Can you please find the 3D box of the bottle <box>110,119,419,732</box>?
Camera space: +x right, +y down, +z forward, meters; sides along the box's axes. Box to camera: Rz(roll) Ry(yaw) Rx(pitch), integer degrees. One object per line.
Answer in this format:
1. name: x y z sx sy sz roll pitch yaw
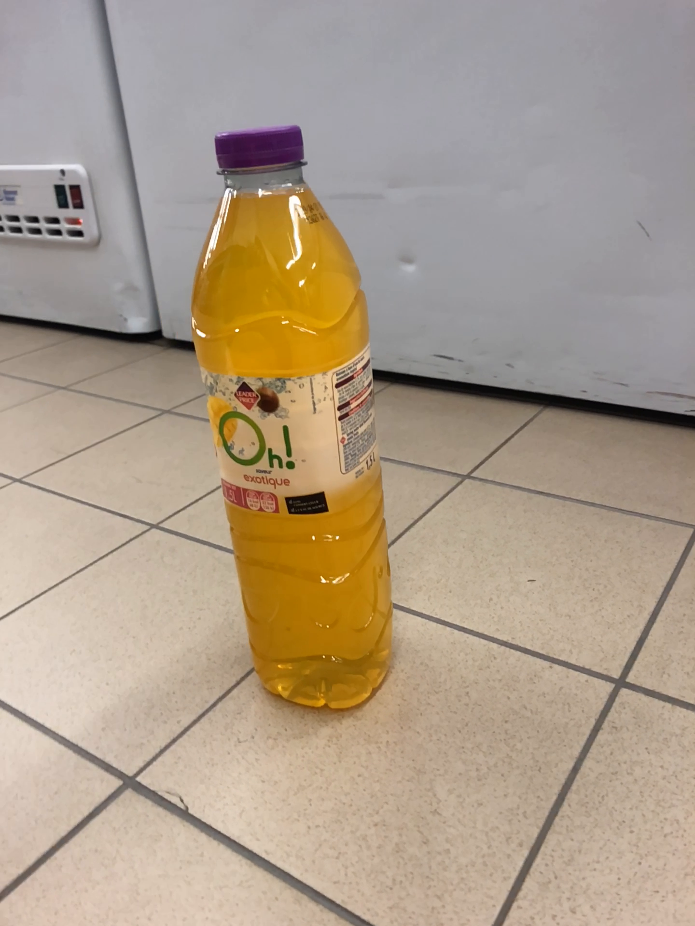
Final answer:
1. bottle: -0.029 -0.016 0.409 0.100 0.298 0.091 8 27 25
